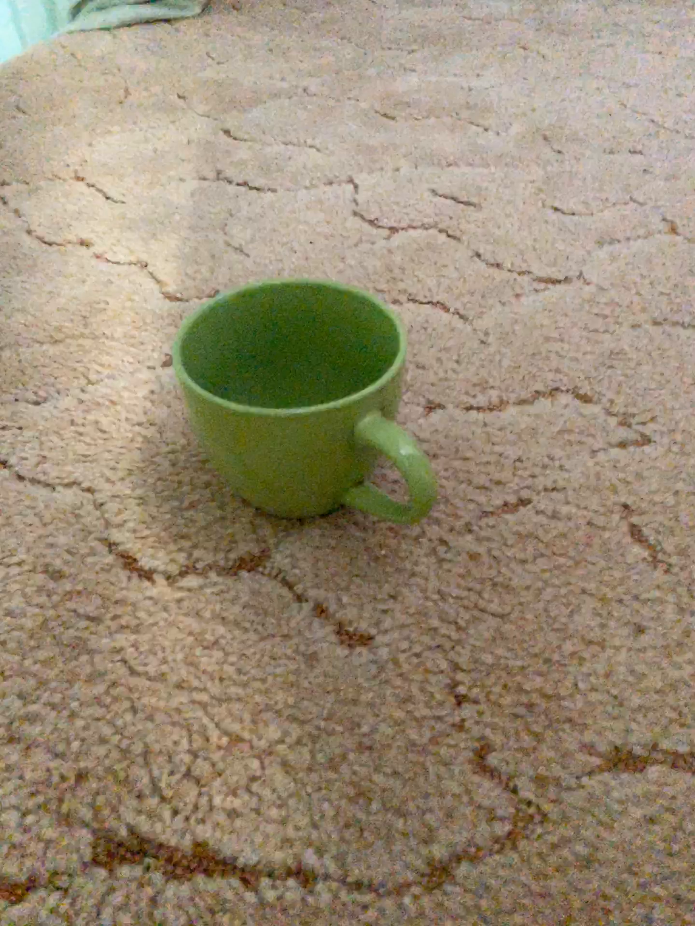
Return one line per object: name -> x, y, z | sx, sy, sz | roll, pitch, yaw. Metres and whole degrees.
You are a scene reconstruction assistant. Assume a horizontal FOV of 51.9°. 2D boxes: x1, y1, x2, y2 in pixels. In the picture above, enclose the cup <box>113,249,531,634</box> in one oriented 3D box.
cup -> -0.013, -0.018, 0.268 | 0.090, 0.060, 0.121 | -28, 51, -29
